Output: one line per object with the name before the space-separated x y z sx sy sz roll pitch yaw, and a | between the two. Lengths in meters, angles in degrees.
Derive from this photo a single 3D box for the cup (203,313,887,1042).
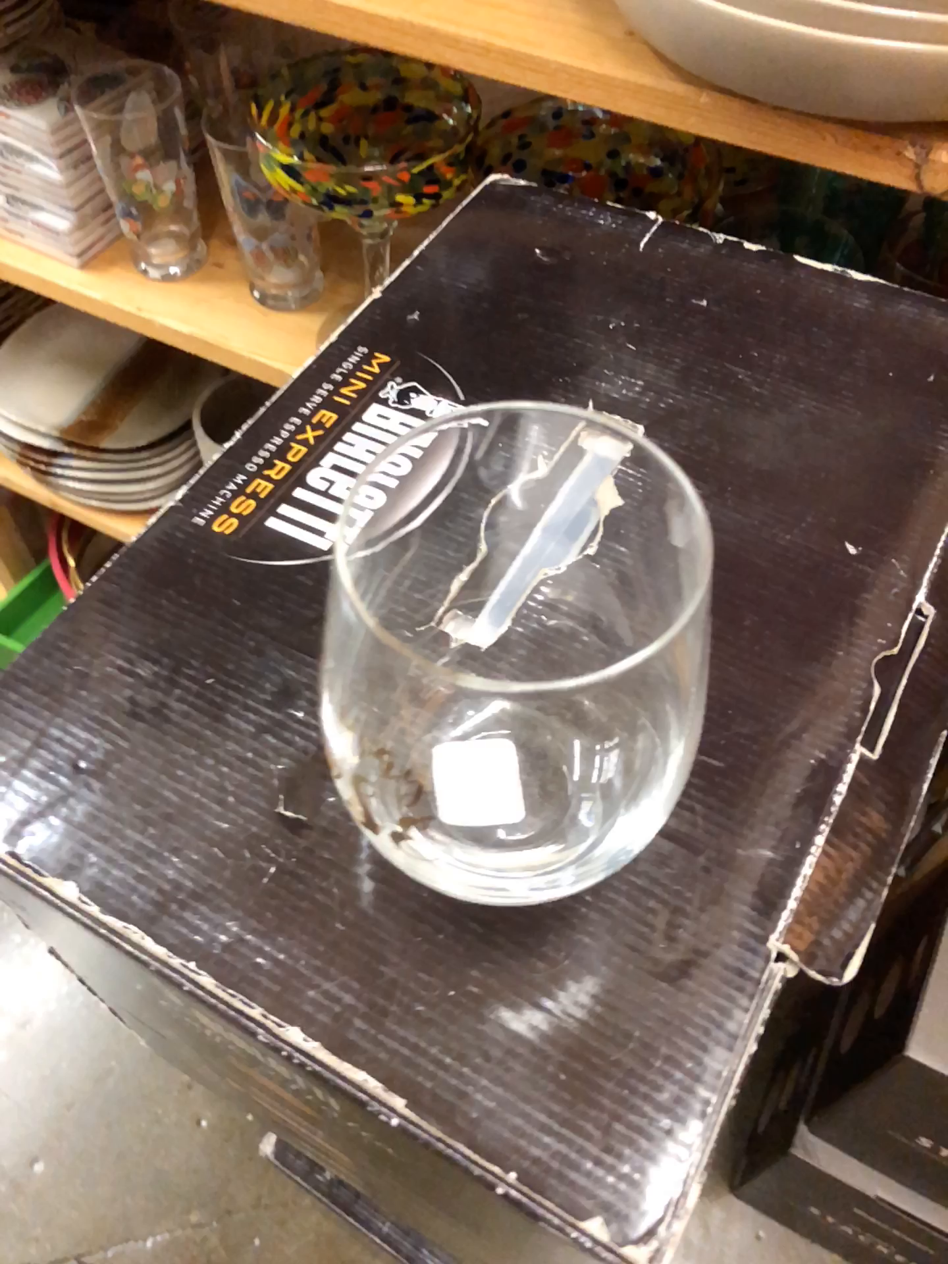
cup | 0.011 0.014 0.246 0.090 0.114 0.096 0 55 0
